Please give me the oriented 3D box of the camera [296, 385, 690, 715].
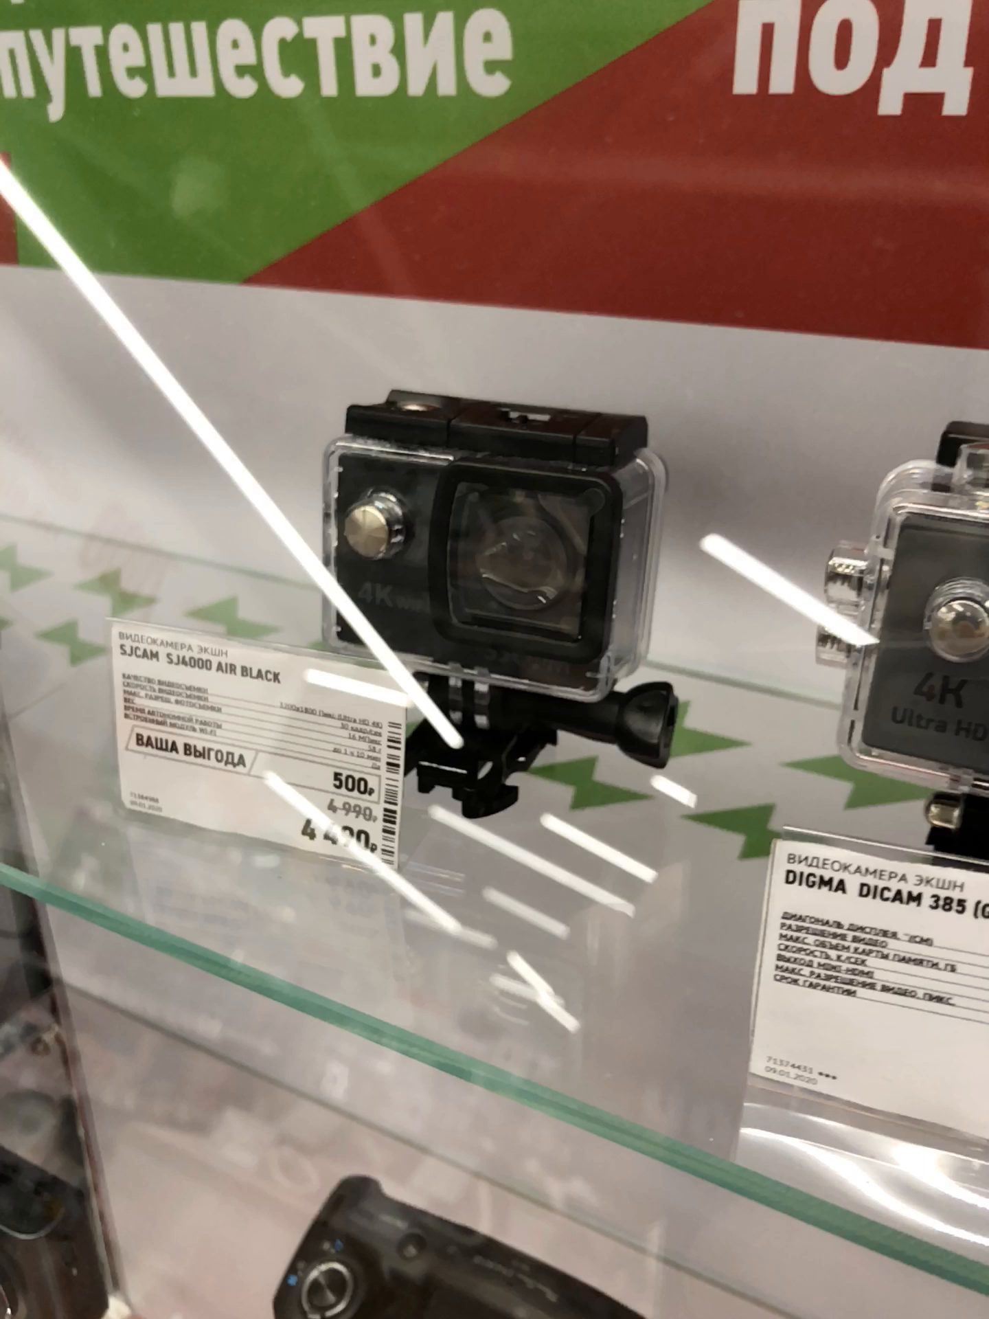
[{"bbox_3d":[-0.001,-0.026,0.236,0.074,0.055,0.033,9,19,19],"label":"camera"}]
